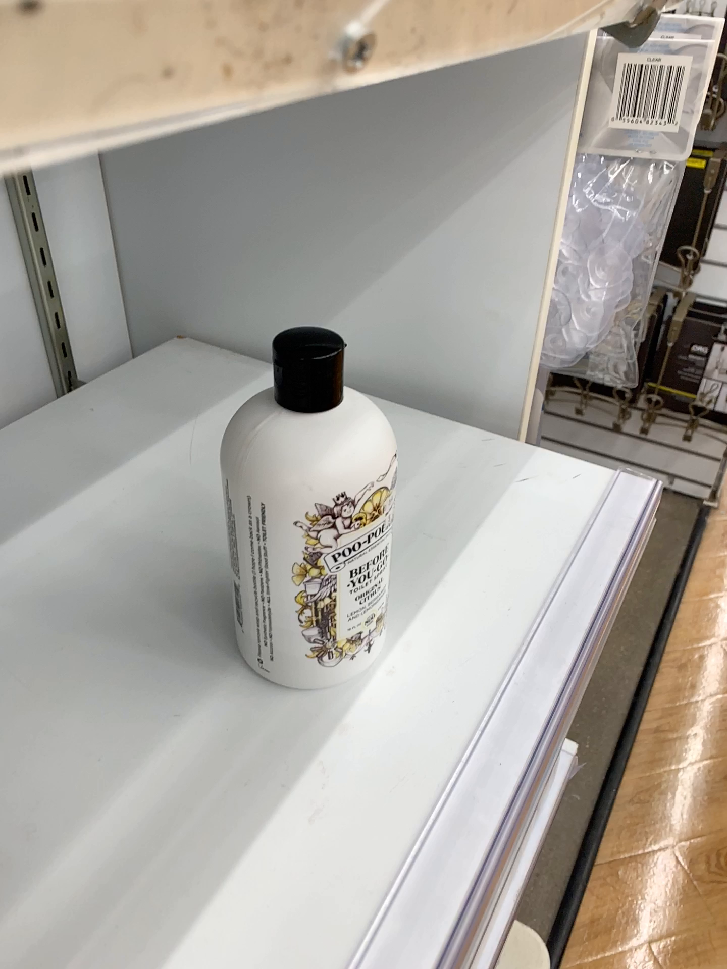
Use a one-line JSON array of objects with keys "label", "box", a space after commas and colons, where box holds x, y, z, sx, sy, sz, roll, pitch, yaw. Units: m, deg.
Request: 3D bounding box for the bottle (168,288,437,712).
[{"label": "bottle", "box": [-0.024, 0.008, 0.323, 0.070, 0.153, 0.073, 1, 36, -1]}]
